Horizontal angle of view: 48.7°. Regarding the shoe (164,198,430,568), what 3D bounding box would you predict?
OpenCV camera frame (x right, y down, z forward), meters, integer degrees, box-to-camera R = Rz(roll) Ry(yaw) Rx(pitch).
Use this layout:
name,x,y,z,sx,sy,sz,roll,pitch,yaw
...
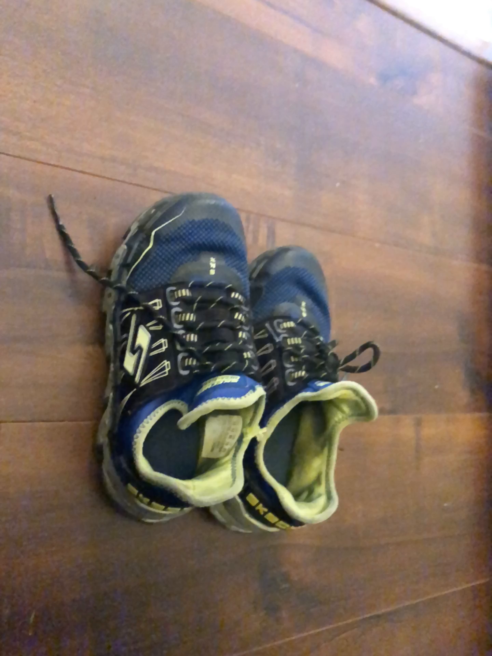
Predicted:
name,x,y,z,sx,sy,sz,roll,pitch,yaw
shoe,0.037,0.040,0.388,0.100,0.120,0.210,22,71,-30

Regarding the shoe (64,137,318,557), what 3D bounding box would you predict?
name,x,y,z,sx,sy,sz,roll,pitch,yaw
shoe,-0.035,0.017,0.345,0.100,0.120,0.210,10,77,-33
